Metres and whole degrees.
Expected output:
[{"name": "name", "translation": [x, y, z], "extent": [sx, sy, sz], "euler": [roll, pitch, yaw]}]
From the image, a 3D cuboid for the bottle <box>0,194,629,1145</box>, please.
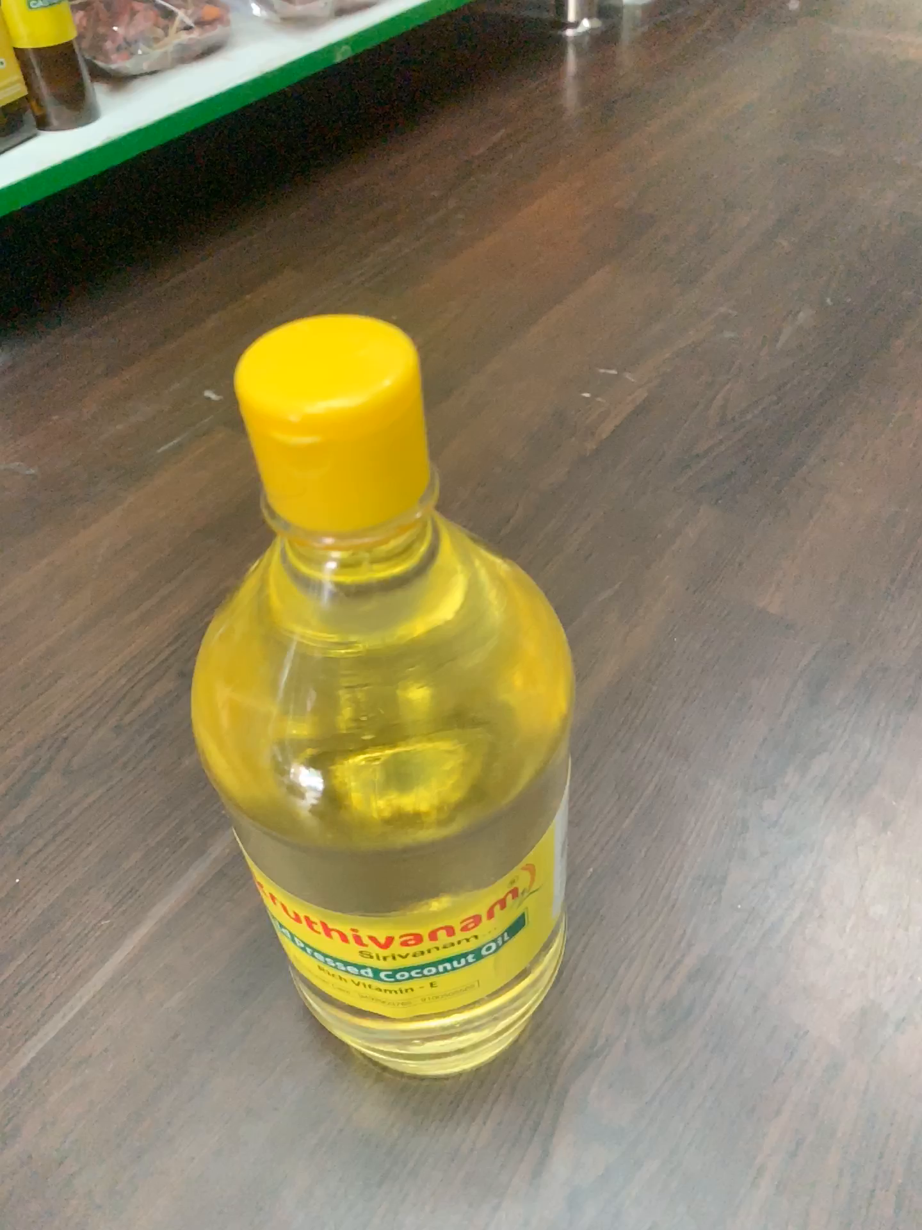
[{"name": "bottle", "translation": [-0.021, 0.029, 0.221], "extent": [0.090, 0.209, 0.090], "euler": [-3, 45, 3]}]
